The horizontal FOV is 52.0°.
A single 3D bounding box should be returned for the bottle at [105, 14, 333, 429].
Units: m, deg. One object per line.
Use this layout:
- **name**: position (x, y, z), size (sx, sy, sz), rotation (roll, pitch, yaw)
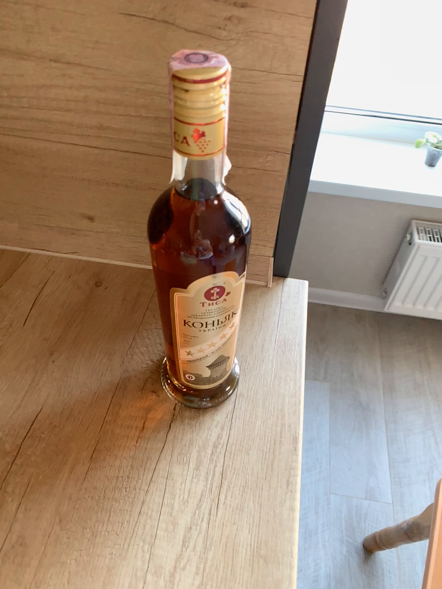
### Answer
- **bottle**: position (-0.009, -0.014, 0.300), size (0.080, 0.279, 0.070), rotation (-13, 51, -13)
